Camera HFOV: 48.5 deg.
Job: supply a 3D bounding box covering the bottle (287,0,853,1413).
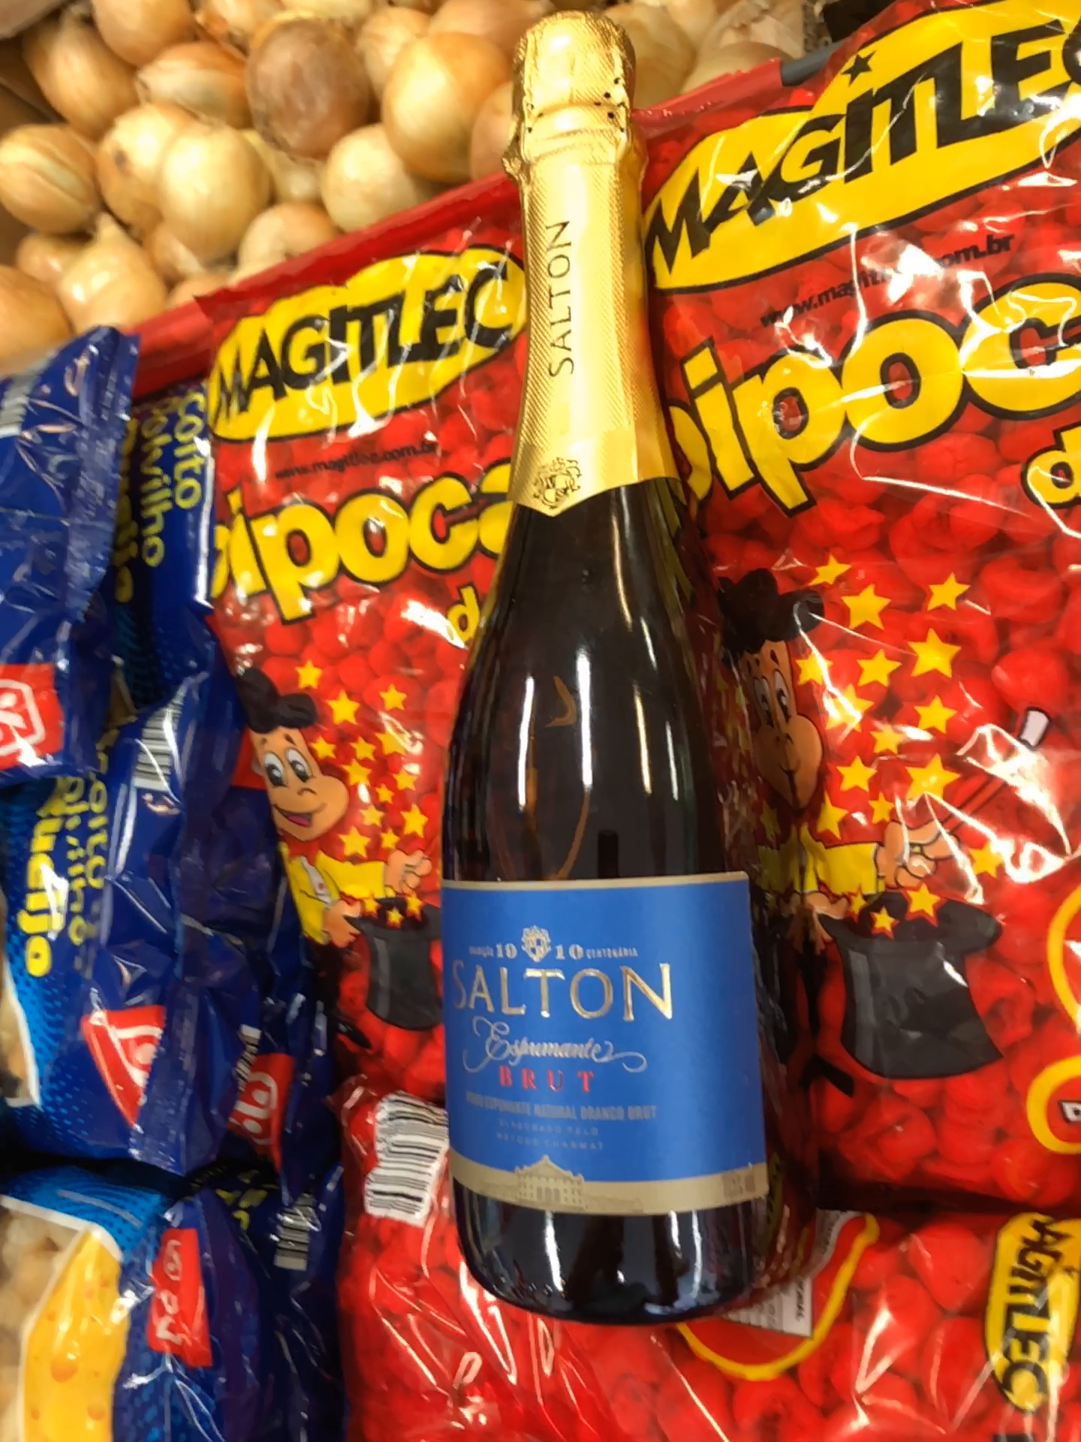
[{"bbox_3d":[0.009,-0.021,0.289,0.090,0.080,0.310,-4,89,30],"label":"bottle"}]
